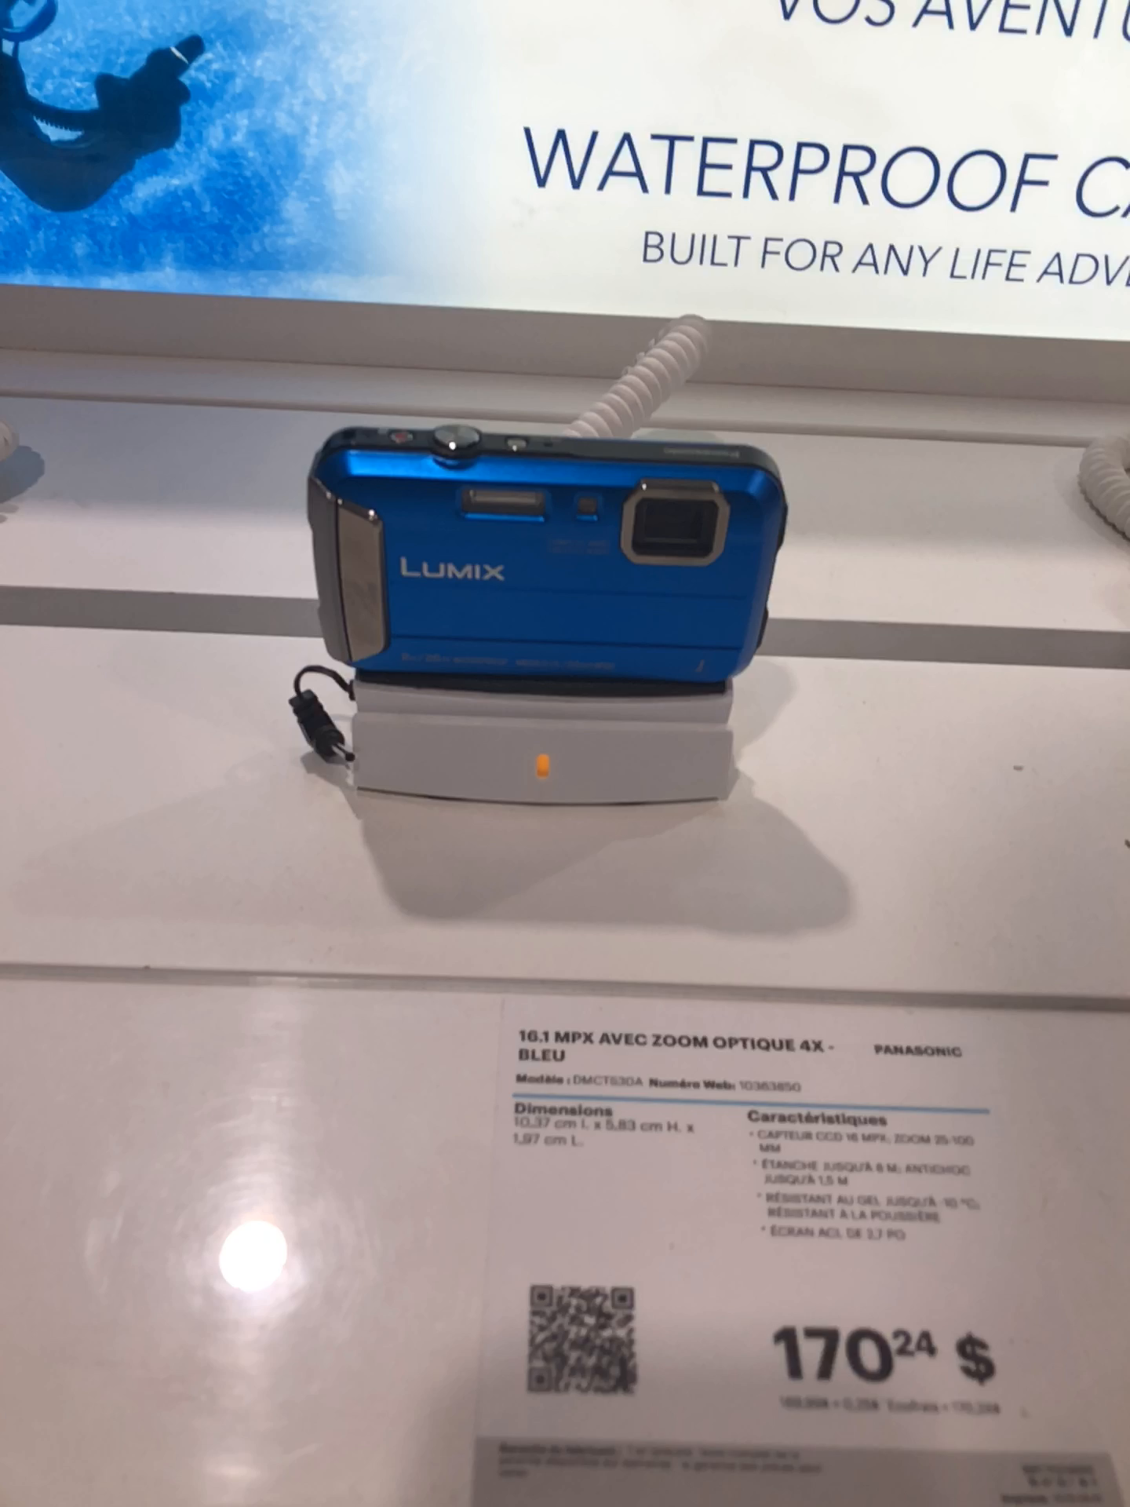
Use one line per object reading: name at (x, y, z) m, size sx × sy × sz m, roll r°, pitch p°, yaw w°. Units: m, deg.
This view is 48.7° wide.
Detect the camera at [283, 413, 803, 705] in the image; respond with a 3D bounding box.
camera at (-0.005, -0.042, 0.280) m, size 0.106 × 0.059 × 0.020 m, roll 1°, pitch 39°, yaw -2°
